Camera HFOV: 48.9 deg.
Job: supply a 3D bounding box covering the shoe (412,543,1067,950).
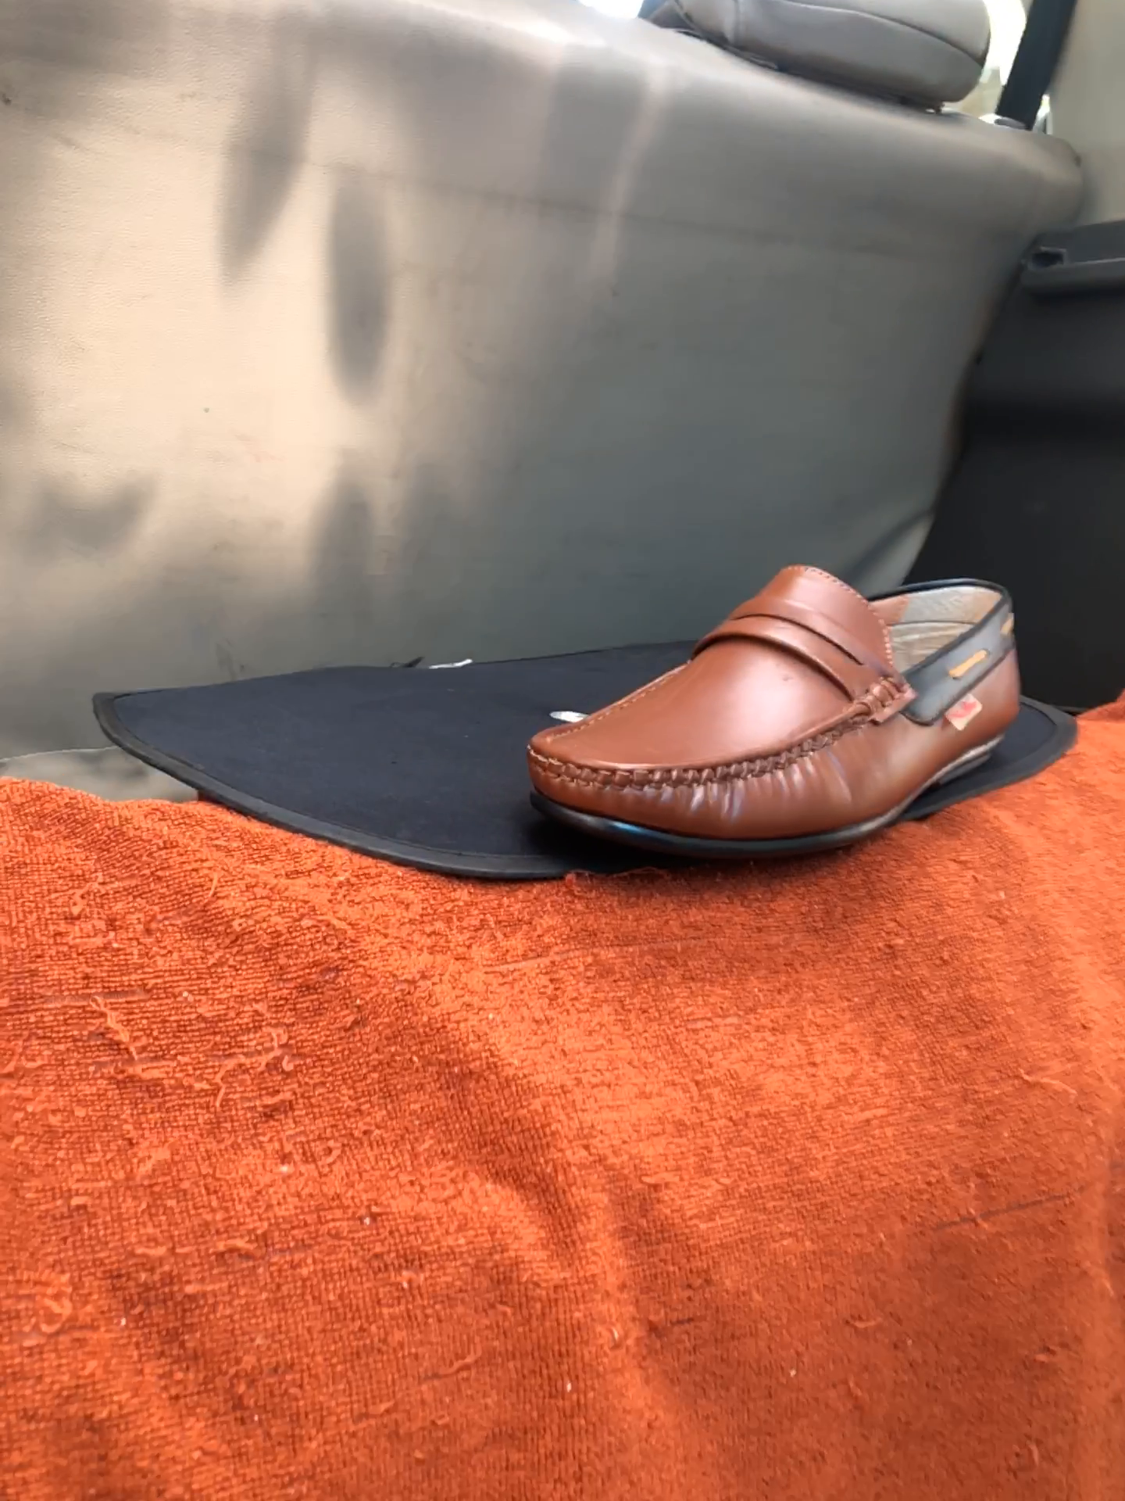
[{"bbox_3d":[0.084,-0.022,0.478,0.110,0.070,0.281,17,24,38],"label":"shoe"}]
